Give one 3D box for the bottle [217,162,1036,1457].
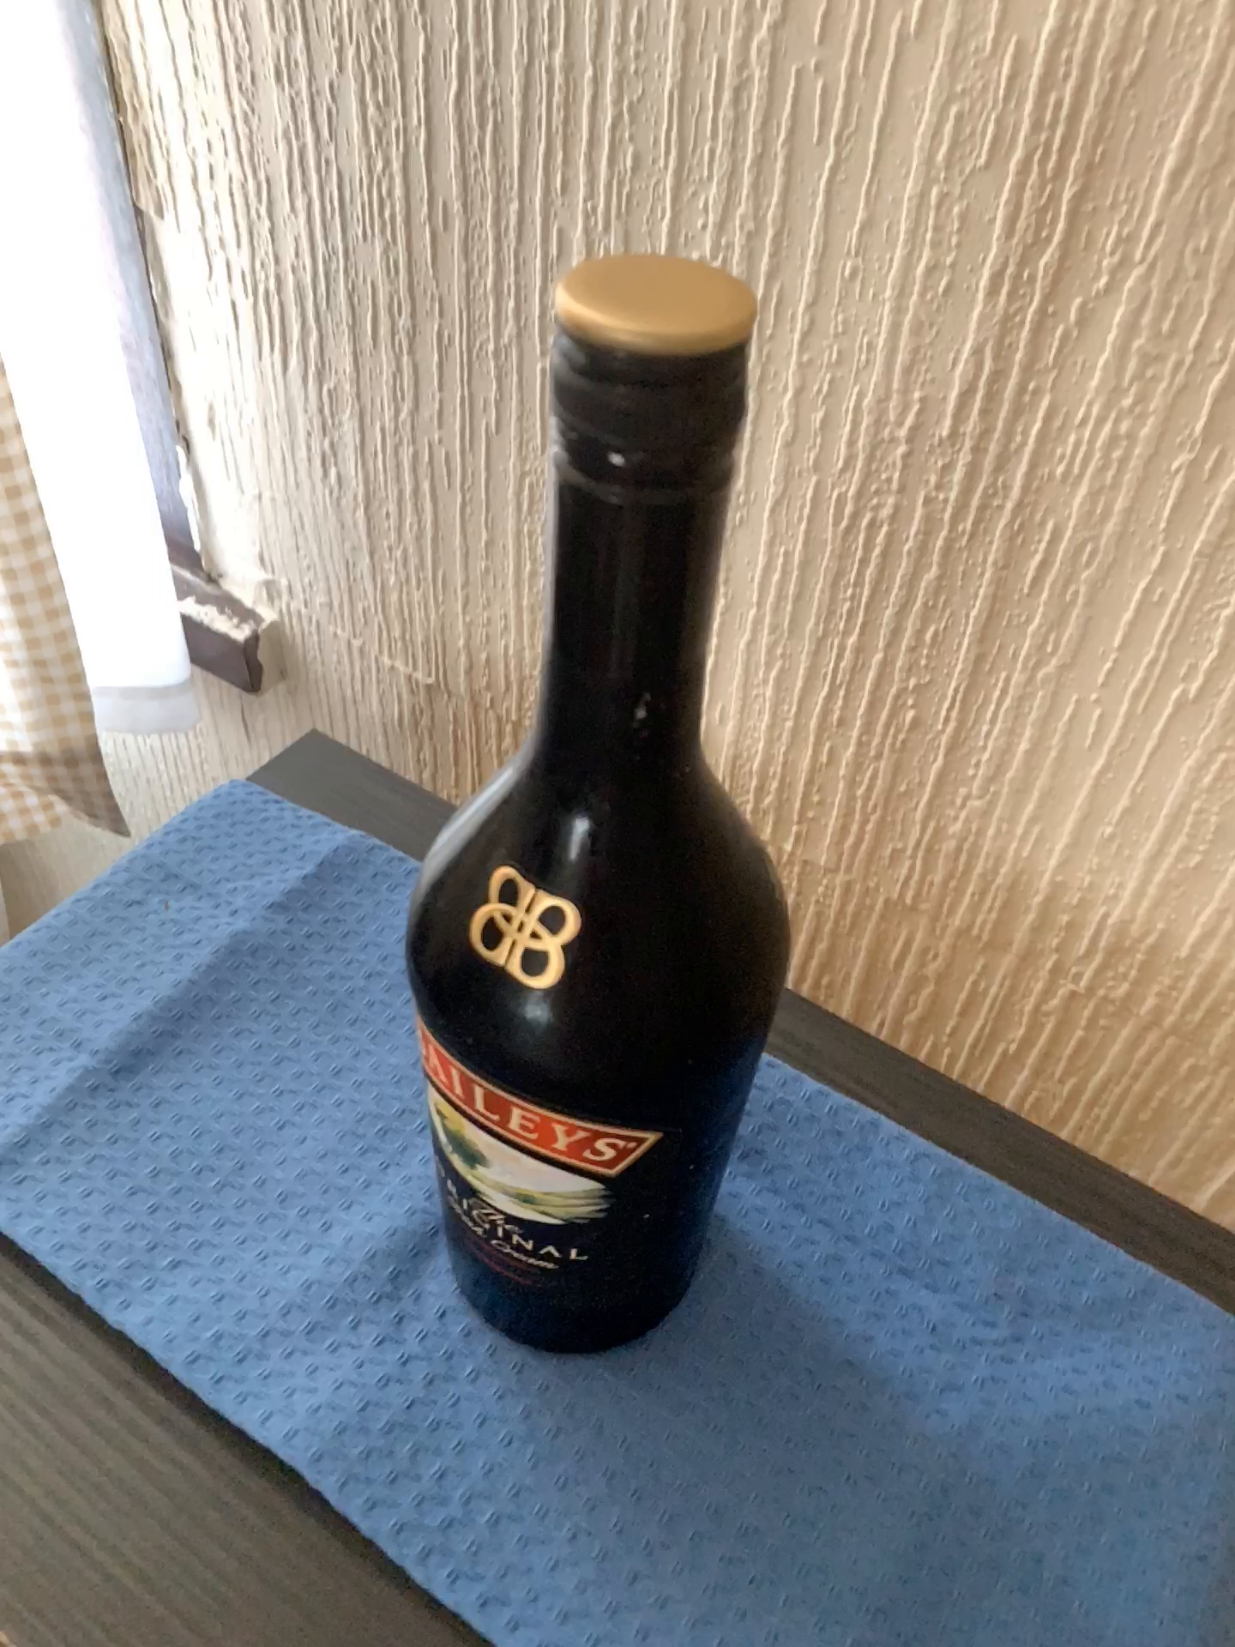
[{"bbox_3d":[-0.005,0.029,0.277,0.090,0.287,0.071,27,49,21],"label":"bottle"}]
